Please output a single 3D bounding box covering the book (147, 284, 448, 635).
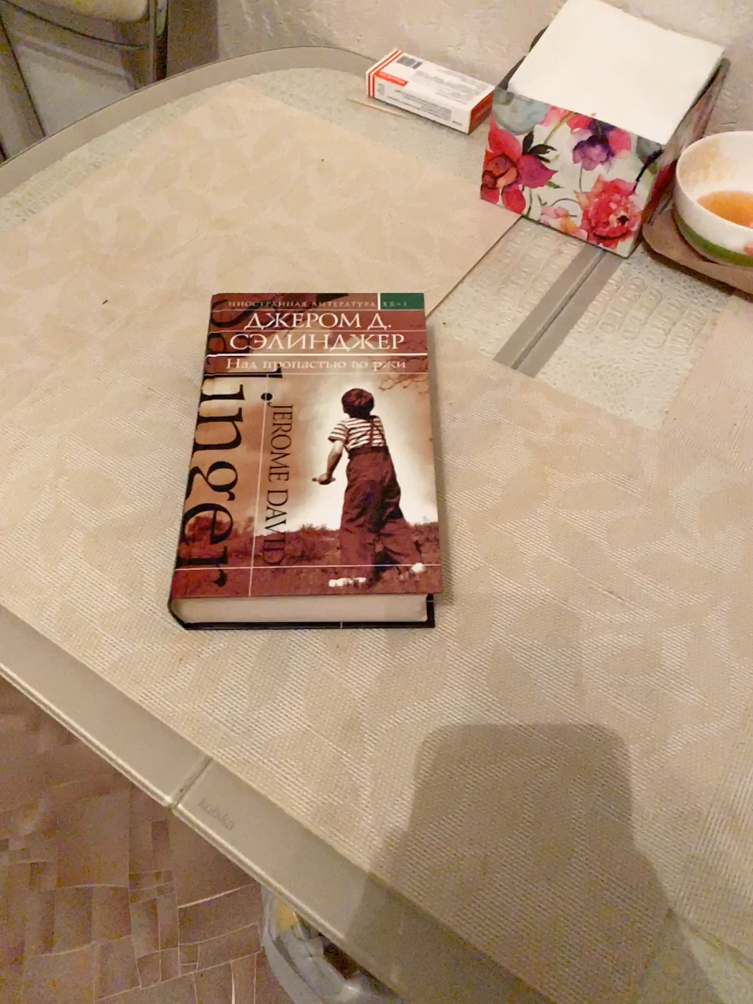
[{"bbox_3d":[-0.040,-0.034,0.463,0.150,0.049,0.221,0,59,0],"label":"book"}]
